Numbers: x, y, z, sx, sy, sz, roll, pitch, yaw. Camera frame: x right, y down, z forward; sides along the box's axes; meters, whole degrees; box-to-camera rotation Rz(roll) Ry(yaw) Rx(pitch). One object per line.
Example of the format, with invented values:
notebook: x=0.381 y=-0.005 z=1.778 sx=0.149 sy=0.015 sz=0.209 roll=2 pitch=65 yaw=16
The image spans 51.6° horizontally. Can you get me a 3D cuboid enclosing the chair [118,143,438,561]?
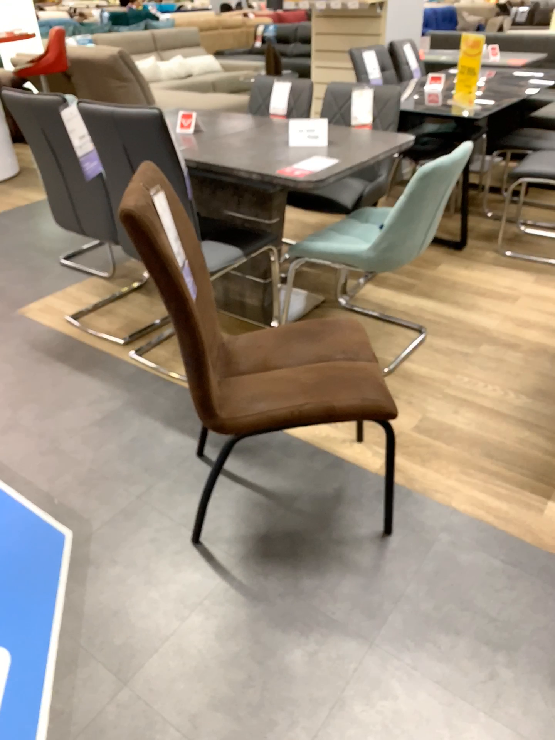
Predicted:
chair: x=0.000 y=-0.024 z=1.504 sx=0.590 sy=0.965 sz=0.442 roll=-4 pitch=33 yaw=-3
